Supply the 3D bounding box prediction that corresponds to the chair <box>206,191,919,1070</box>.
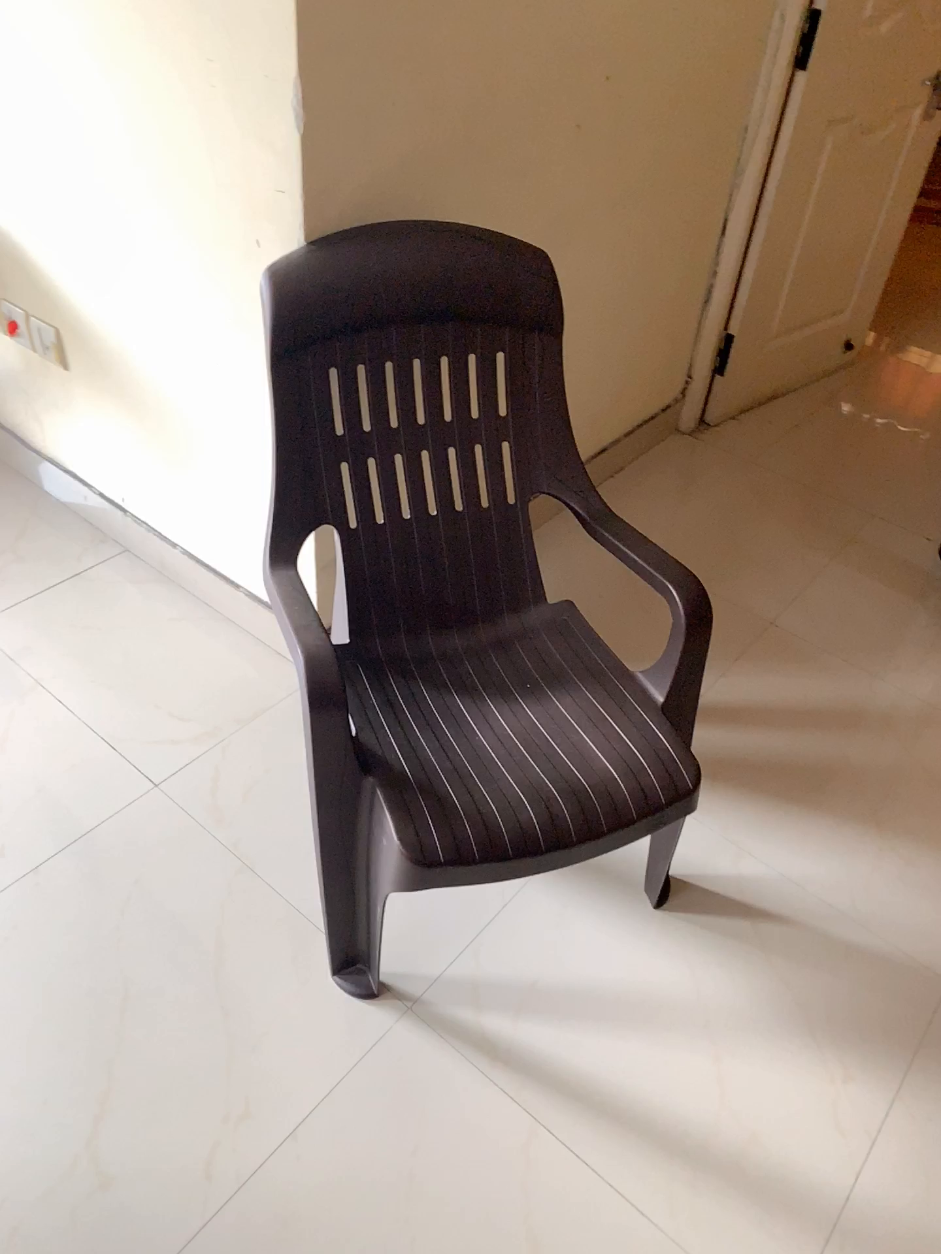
[{"bbox_3d":[0.012,0.009,1.421,0.601,1.031,0.665,-10,42,-17],"label":"chair"}]
